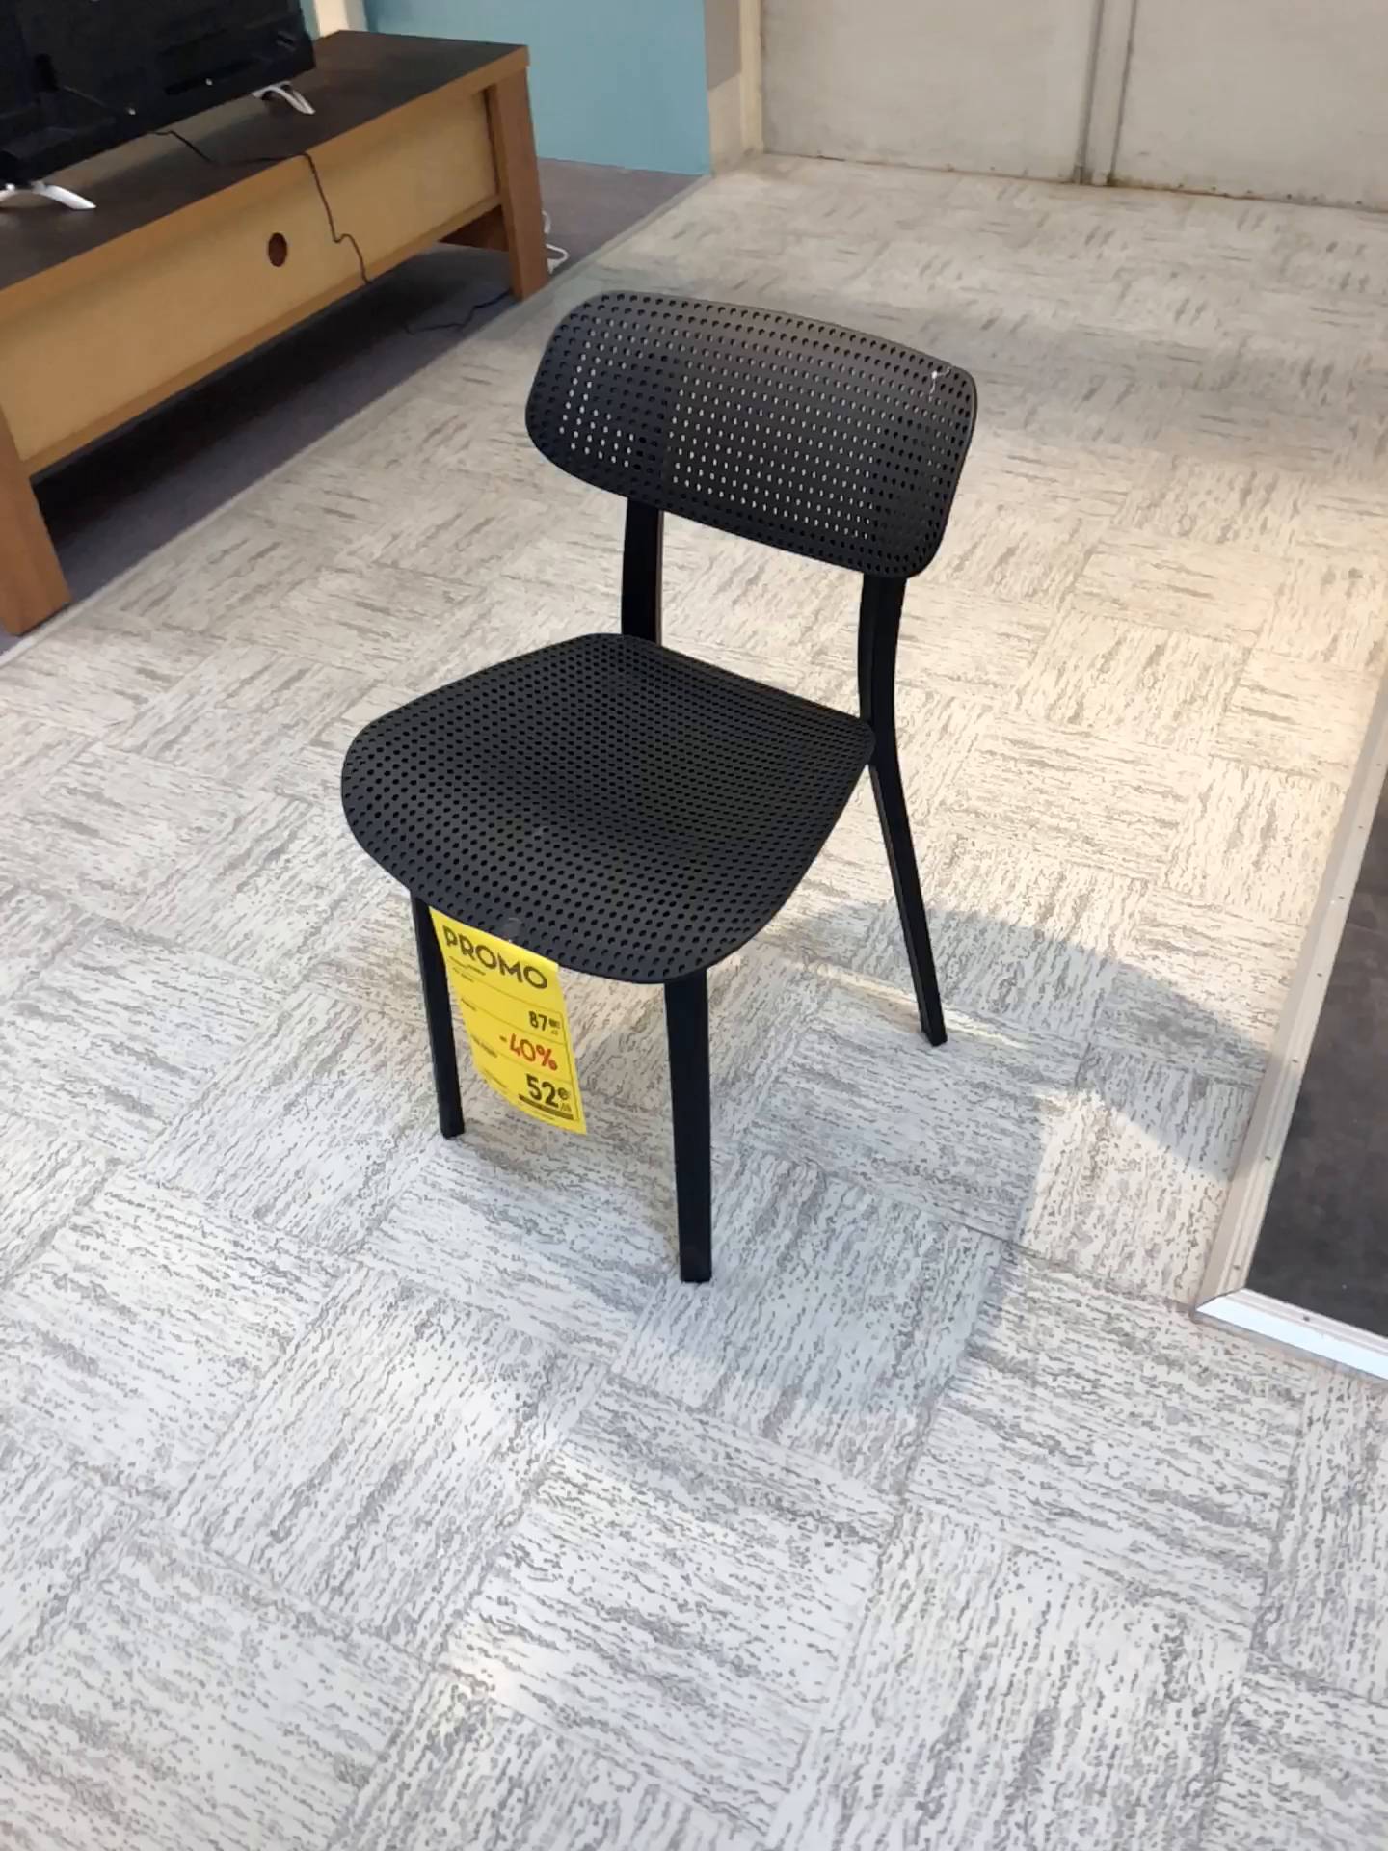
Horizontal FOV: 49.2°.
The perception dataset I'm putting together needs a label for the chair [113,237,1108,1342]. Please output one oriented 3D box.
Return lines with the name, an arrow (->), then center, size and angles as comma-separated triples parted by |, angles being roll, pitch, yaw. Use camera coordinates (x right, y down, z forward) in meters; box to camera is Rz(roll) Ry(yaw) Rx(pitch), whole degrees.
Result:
chair -> -0.036, -0.139, 1.363 | 0.540, 0.686, 0.523 | 24, 49, 27
